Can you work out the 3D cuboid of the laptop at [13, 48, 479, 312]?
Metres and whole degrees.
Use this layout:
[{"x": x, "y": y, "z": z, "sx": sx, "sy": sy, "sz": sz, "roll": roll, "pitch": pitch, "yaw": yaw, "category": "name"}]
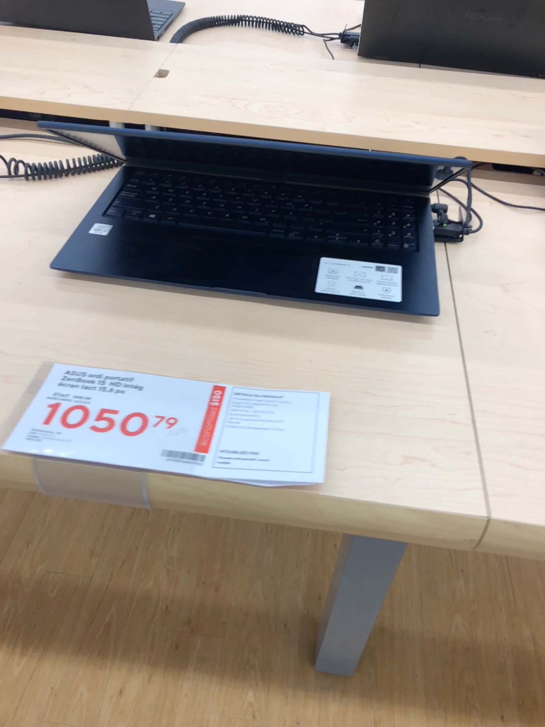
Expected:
[{"x": -0.010, "y": -0.179, "z": 0.549, "sx": 0.346, "sy": 0.119, "sz": 0.205, "roll": 8, "pitch": 45, "yaw": 4, "category": "laptop"}]
